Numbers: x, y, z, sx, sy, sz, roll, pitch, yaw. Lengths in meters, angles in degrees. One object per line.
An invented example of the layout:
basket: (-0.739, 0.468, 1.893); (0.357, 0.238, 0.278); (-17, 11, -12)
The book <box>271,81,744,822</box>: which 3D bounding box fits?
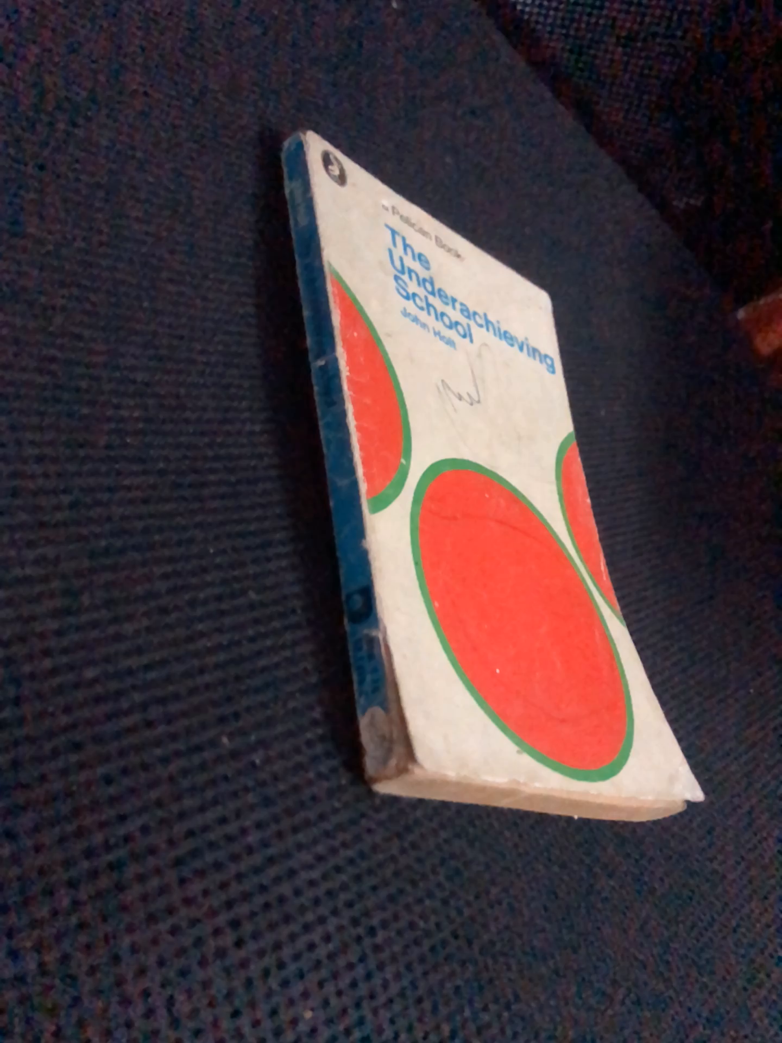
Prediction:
book: (0.029, -0.018, 0.232); (0.121, 0.020, 0.182); (21, 49, -42)
